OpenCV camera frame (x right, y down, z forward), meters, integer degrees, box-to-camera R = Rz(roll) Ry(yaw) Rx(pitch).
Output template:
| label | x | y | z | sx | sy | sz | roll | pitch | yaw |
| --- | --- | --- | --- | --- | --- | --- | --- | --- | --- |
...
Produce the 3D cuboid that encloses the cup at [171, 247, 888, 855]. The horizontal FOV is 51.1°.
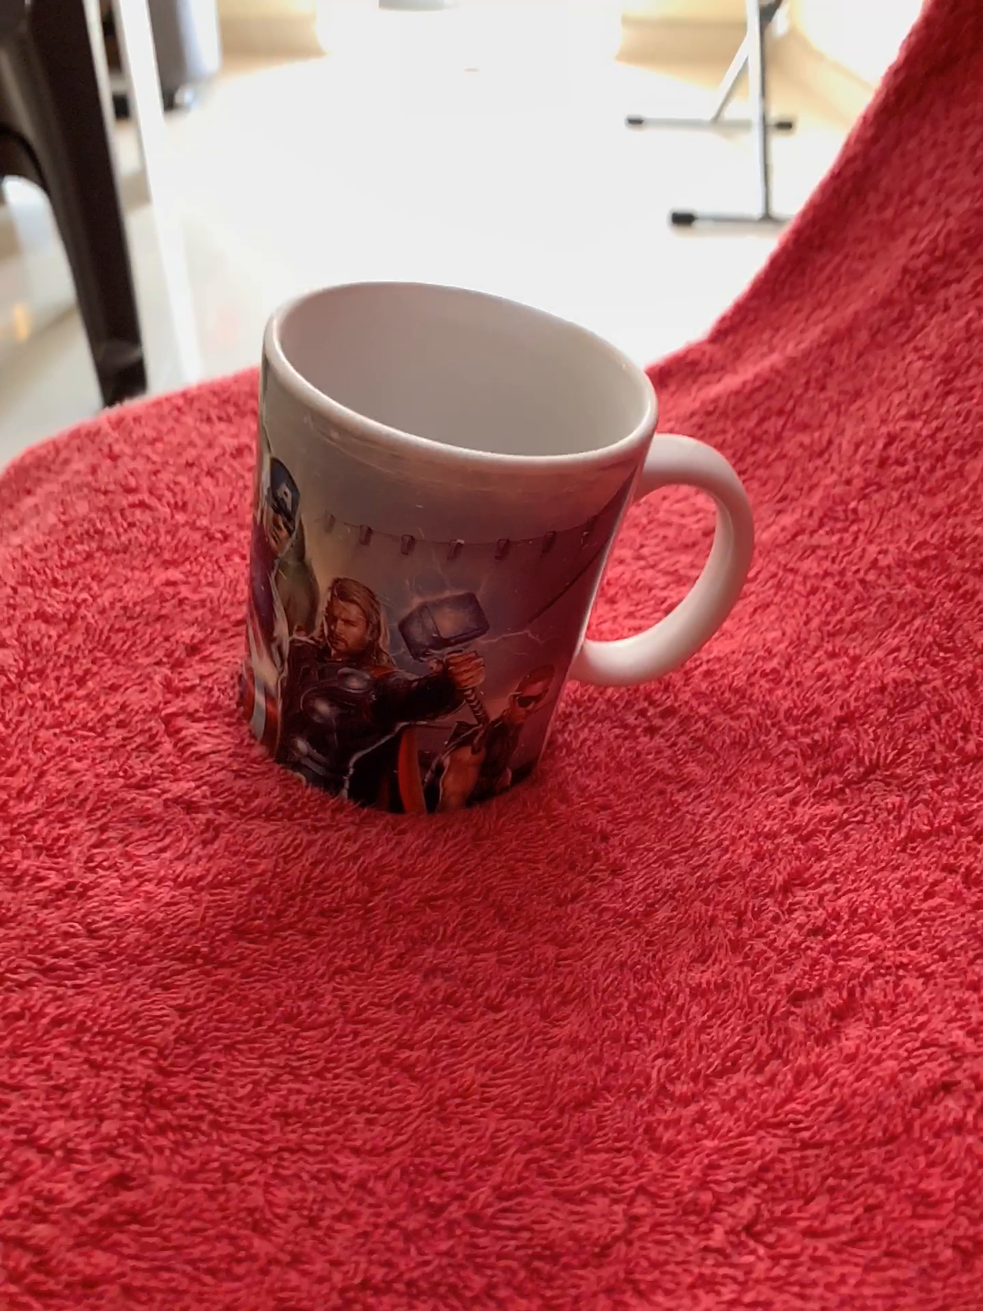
| label | x | y | z | sx | sy | sz | roll | pitch | yaw |
| --- | --- | --- | --- | --- | --- | --- | --- | --- | --- |
| cup | -0.001 | -0.021 | 0.231 | 0.120 | 0.089 | 0.091 | 4 | 44 | -10 |
